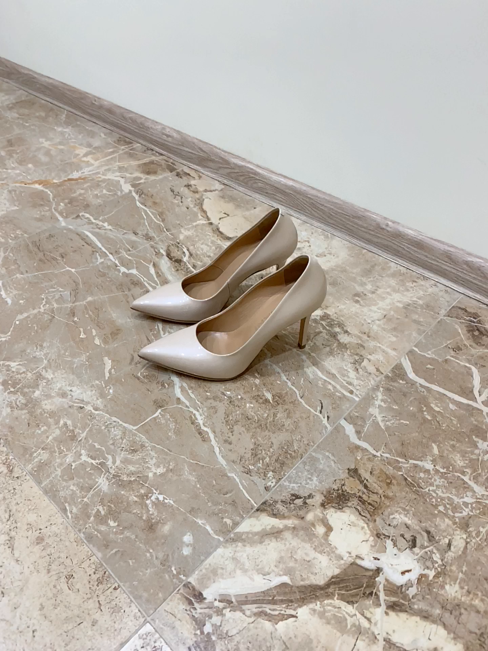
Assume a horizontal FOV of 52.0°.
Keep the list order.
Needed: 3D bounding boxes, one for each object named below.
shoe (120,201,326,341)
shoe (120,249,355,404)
[{"bbox_3d":[-0.028,-0.073,0.657,0.240,0.119,0.091,-10,44,-10],"label":"shoe"},{"bbox_3d":[-0.010,-0.001,0.579,0.240,0.109,0.091,-10,44,-10],"label":"shoe"}]
